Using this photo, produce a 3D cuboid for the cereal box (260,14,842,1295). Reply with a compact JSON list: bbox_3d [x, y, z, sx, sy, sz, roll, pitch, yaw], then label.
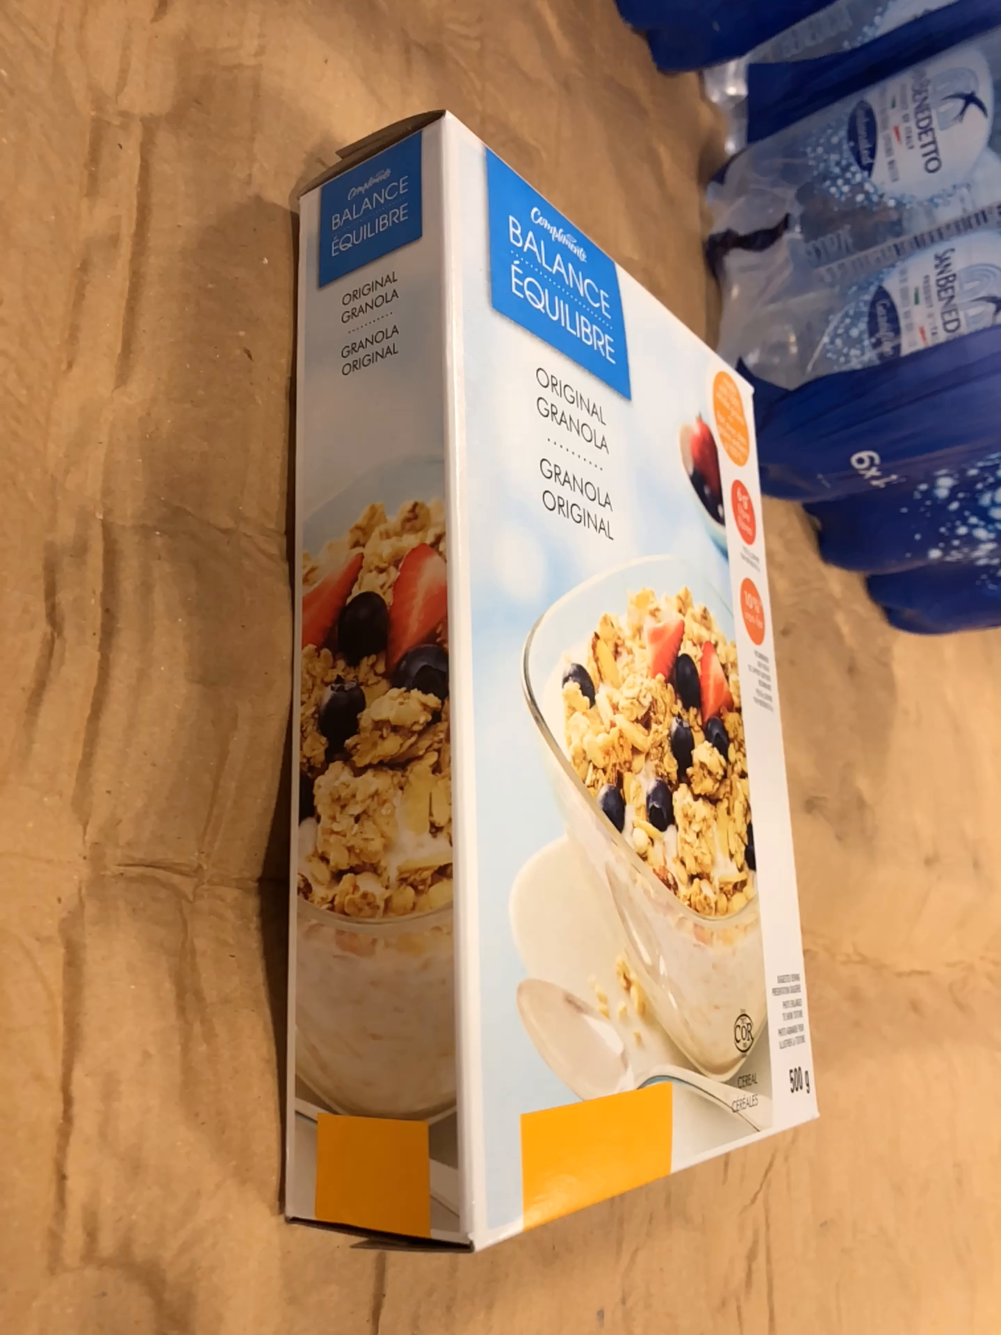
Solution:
[{"bbox_3d":[0.022,0.000,0.297,0.181,0.050,0.250,17,66,-54],"label":"cereal box"}]
